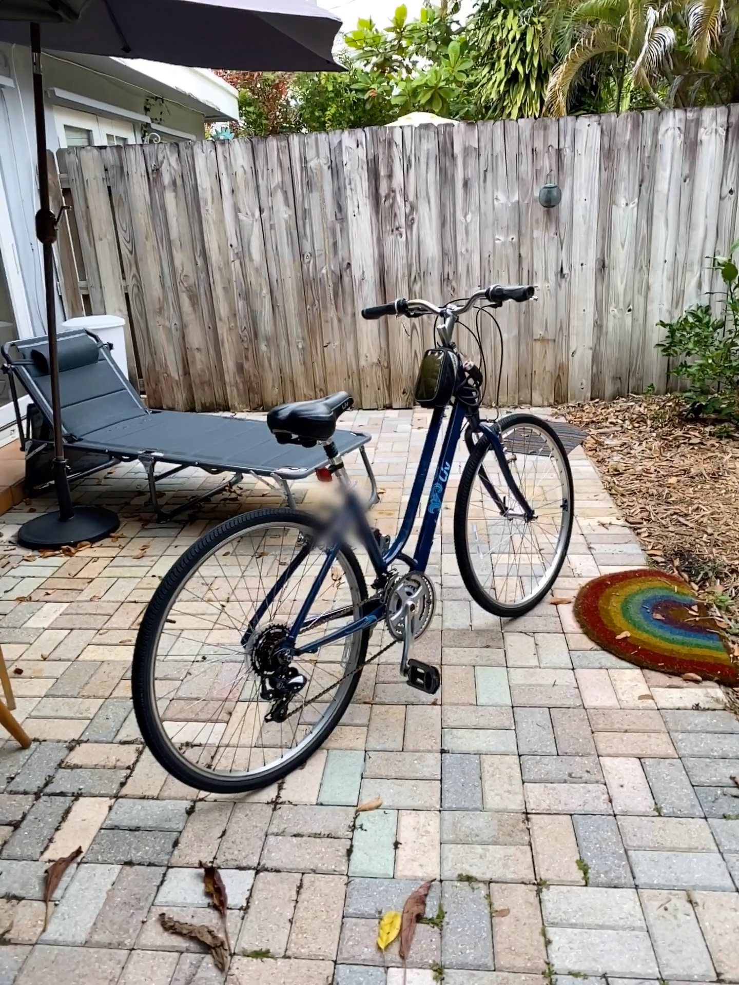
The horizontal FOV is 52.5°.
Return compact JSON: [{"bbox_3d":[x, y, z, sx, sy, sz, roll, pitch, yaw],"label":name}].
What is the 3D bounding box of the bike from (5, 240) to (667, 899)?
[{"bbox_3d":[0.102,-0.021,2.062,0.596,1.067,1.693,15,29,42],"label":"bike"}]
